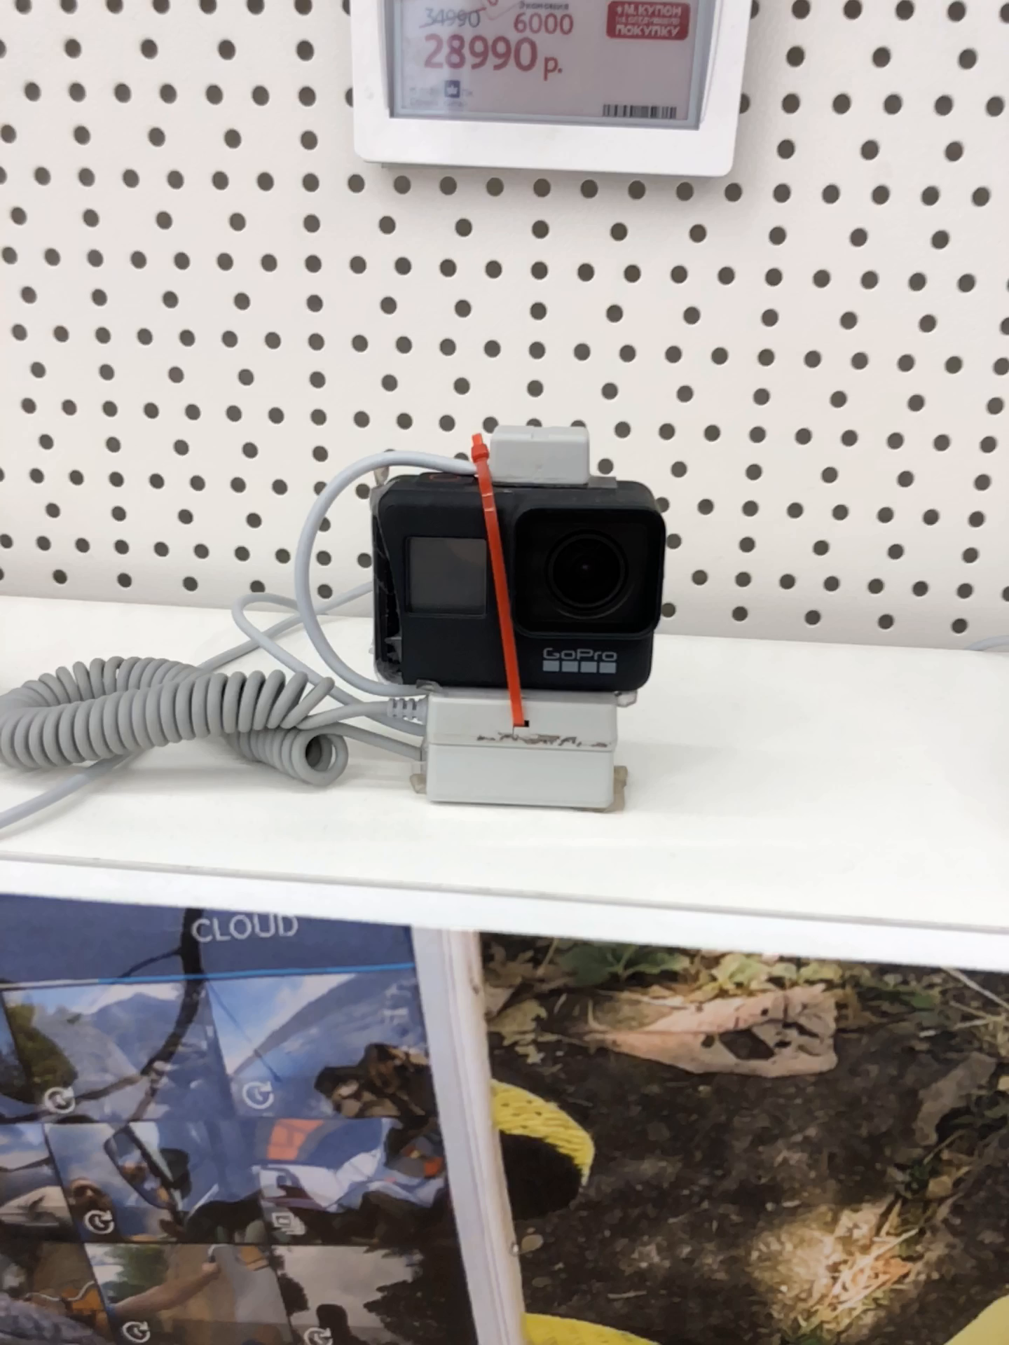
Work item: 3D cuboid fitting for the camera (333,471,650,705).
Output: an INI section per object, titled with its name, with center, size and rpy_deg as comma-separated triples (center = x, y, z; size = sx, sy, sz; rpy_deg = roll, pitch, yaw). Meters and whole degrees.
[camera]
center = -0.003, -0.020, 0.247
size = 0.064, 0.043, 0.032
rpy_deg = 2, 20, 0
